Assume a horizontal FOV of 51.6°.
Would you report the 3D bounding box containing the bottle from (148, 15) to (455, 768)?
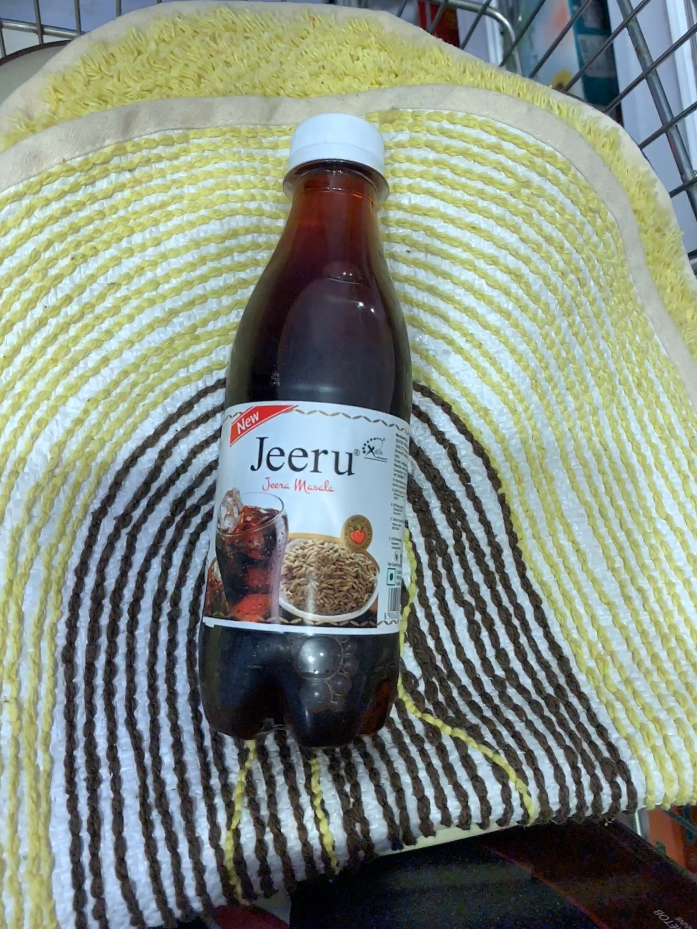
[{"bbox_3d":[-0.011,-0.019,0.203,0.060,0.060,0.180,4,82,-4],"label":"bottle"}]
